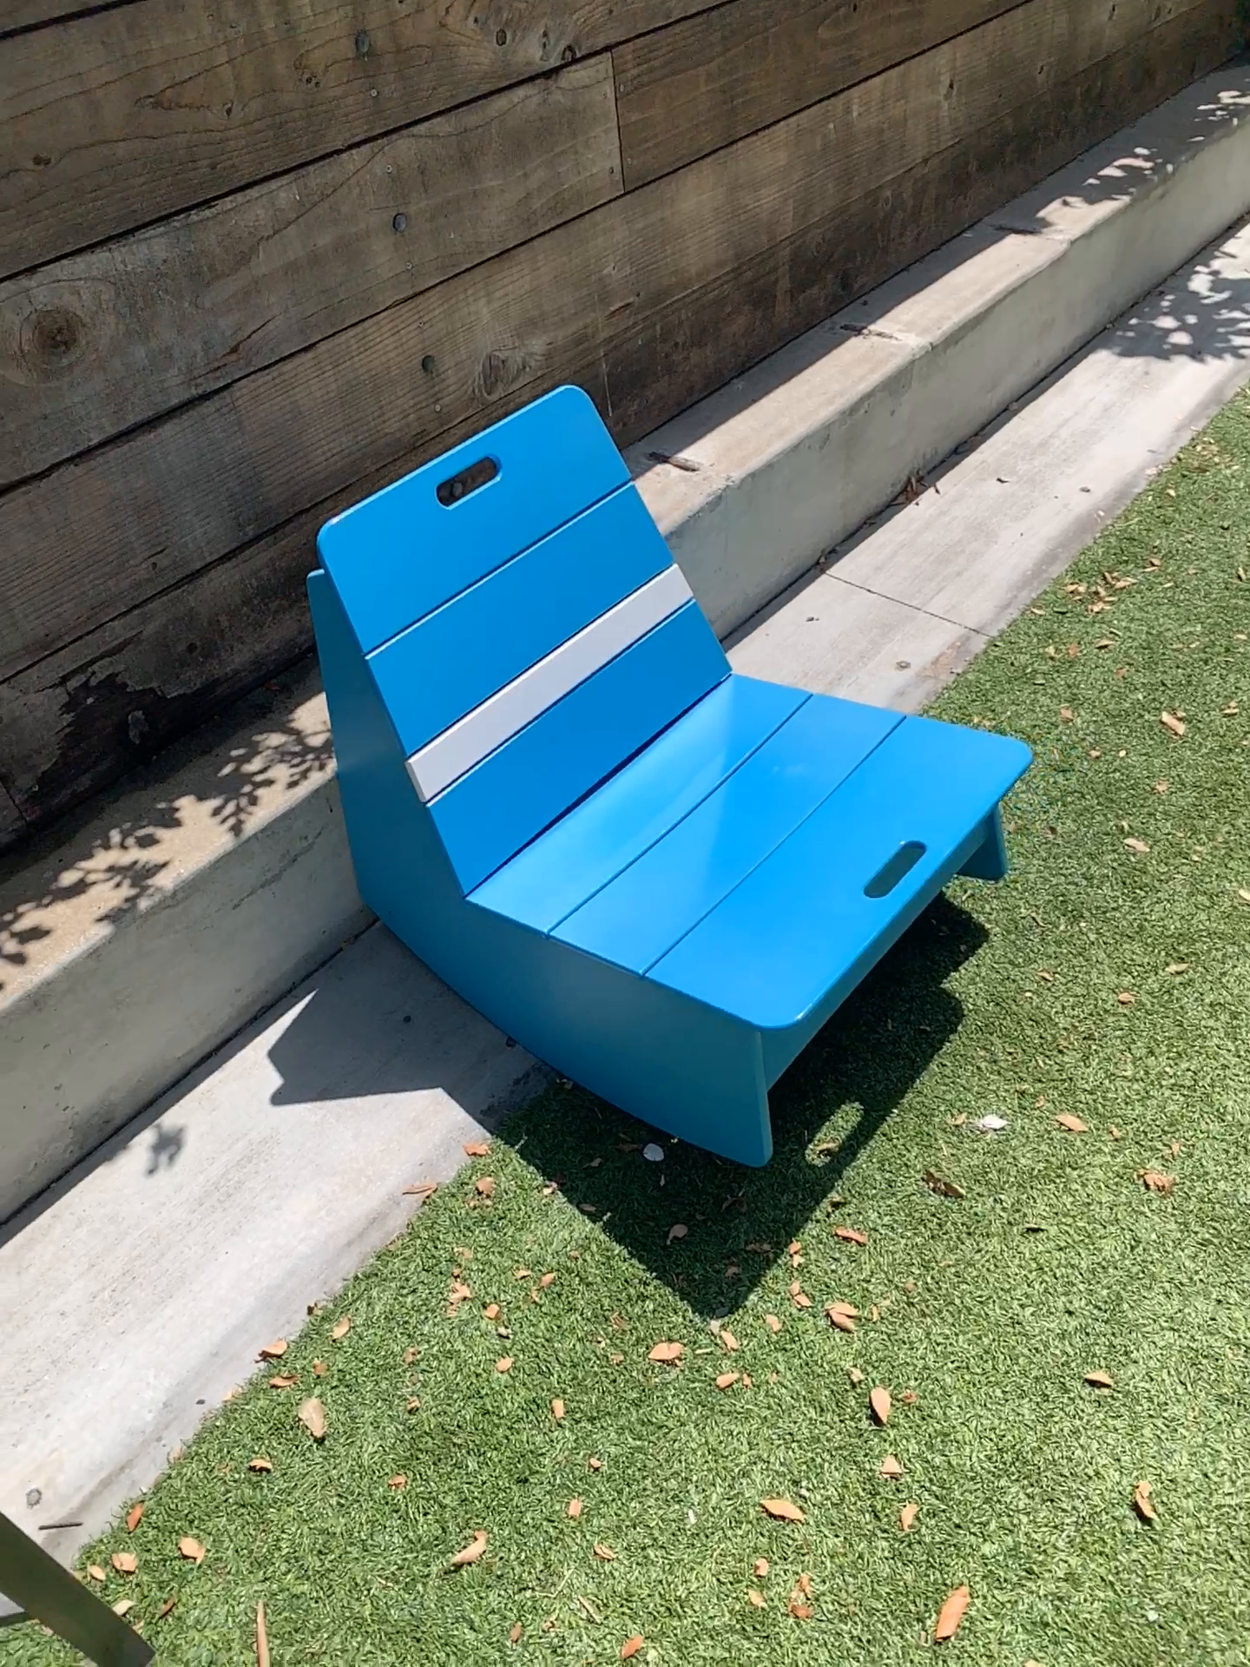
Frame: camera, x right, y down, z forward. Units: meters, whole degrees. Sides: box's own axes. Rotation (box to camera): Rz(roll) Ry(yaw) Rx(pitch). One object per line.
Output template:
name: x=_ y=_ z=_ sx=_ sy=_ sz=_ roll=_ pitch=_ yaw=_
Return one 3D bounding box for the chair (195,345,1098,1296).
chair: x=0.030 y=-0.044 z=1.576 sx=0.723 sy=0.746 sz=0.591 roll=31 pitch=54 yaw=31
